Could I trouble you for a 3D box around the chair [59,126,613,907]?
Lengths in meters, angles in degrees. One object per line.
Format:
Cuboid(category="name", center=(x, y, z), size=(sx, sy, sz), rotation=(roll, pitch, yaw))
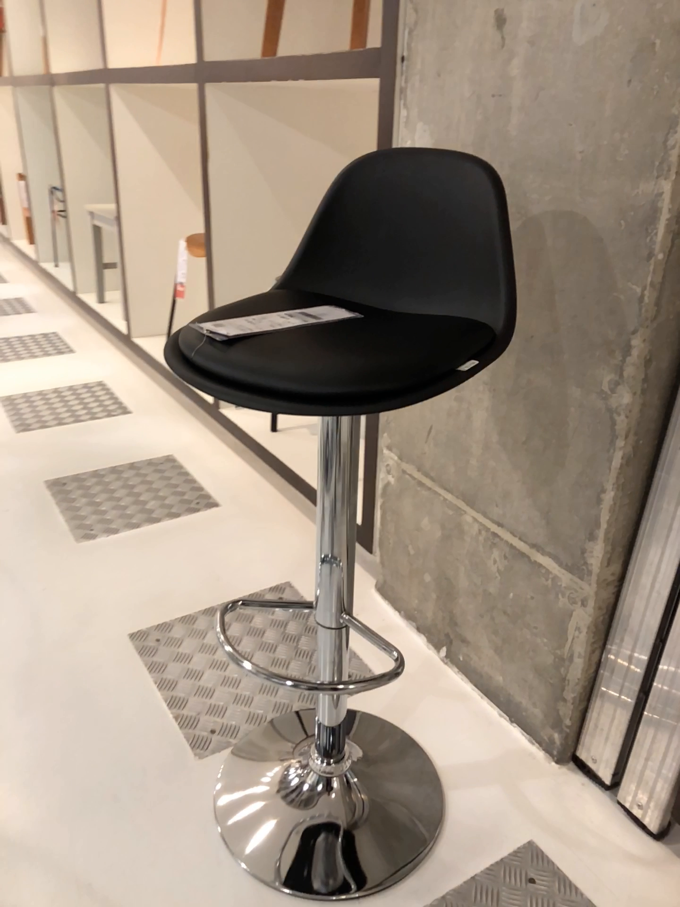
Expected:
Cuboid(category="chair", center=(0.001, 0.103, 1.049), size=(0.431, 1.013, 0.472), rotation=(19, 29, 32))
